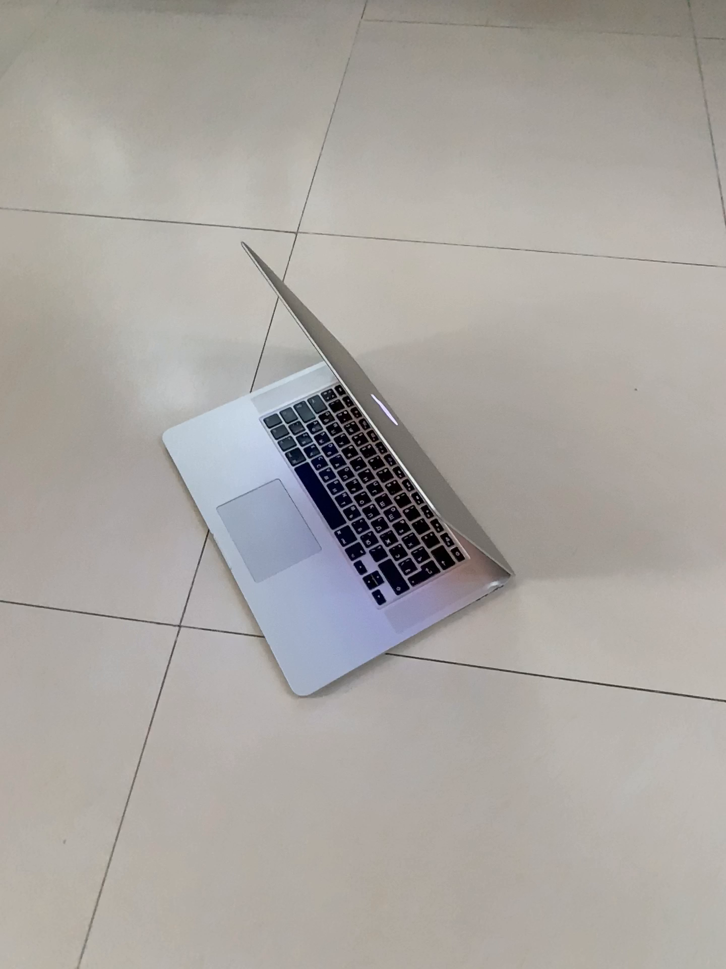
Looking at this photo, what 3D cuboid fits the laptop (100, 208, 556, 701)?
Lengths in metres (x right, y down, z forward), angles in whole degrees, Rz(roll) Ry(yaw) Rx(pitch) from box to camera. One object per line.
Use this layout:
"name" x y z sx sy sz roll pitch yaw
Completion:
"laptop" -0.046 -0.038 0.713 0.241 0.208 0.360 -26 60 -15
